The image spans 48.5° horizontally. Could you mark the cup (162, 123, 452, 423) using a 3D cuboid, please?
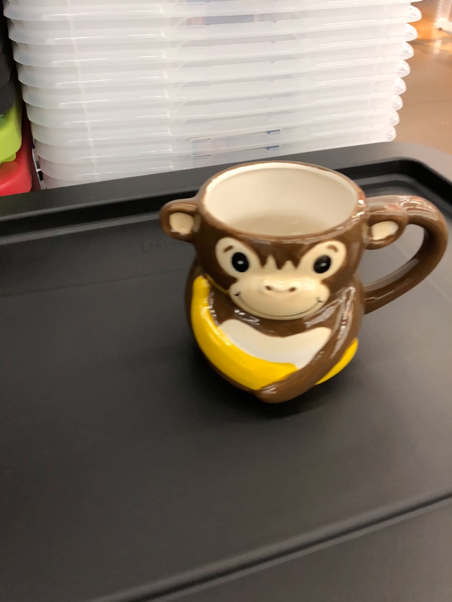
[{"bbox_3d":[0.052,-0.021,0.258,0.160,0.100,0.110,-4,38,-6],"label":"cup"}]
